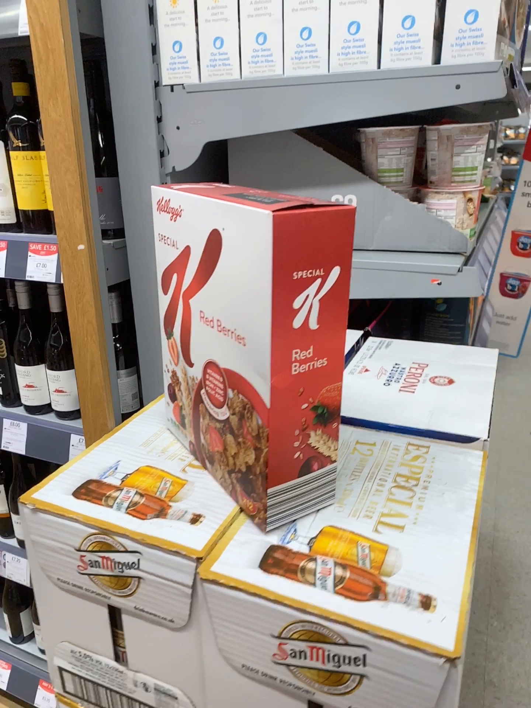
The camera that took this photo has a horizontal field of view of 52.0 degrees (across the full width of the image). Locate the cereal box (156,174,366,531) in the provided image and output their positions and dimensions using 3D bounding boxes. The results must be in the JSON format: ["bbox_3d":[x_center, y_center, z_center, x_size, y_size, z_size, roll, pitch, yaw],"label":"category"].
[{"bbox_3d":[-0.017,-0.020,0.455,0.070,0.238,0.201,-10,23,-29],"label":"cereal box"}]
